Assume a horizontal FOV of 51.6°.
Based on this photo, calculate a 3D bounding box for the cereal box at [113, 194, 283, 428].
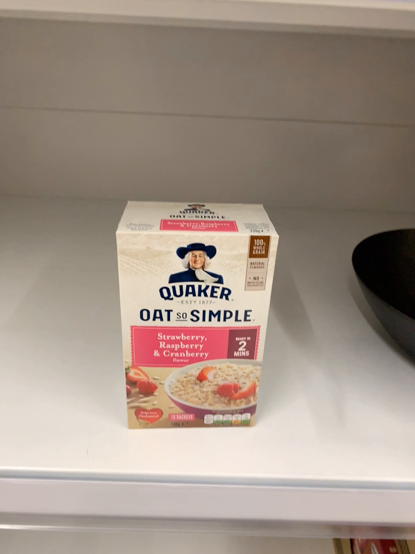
[{"bbox_3d":[-0.014,0.036,0.411,0.130,0.208,0.081,0,28,-5],"label":"cereal box"}]
